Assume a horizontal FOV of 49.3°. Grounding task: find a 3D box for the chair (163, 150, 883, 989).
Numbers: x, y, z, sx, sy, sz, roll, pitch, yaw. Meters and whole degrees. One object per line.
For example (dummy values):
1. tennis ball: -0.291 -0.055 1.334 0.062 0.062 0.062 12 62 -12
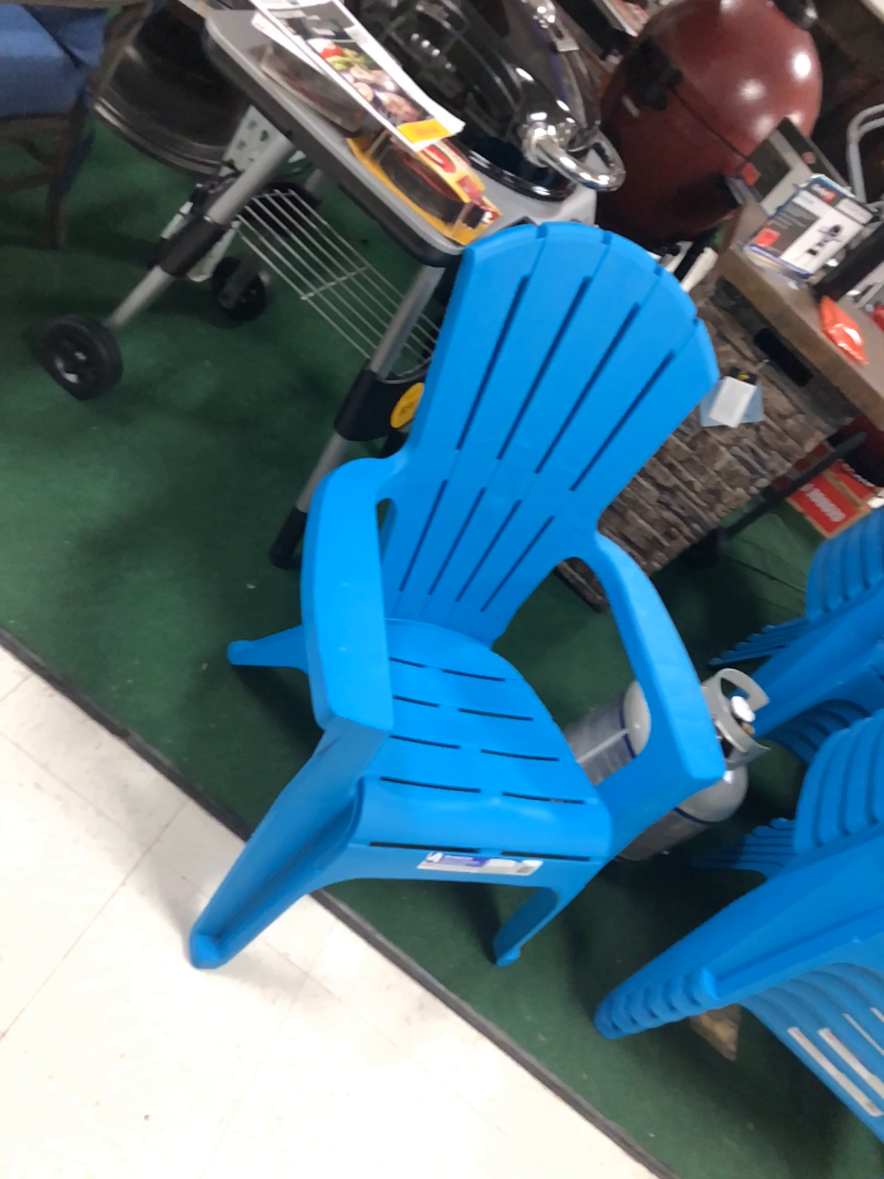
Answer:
1. chair: 0.119 0.090 1.390 0.684 0.930 0.648 15 47 -35
